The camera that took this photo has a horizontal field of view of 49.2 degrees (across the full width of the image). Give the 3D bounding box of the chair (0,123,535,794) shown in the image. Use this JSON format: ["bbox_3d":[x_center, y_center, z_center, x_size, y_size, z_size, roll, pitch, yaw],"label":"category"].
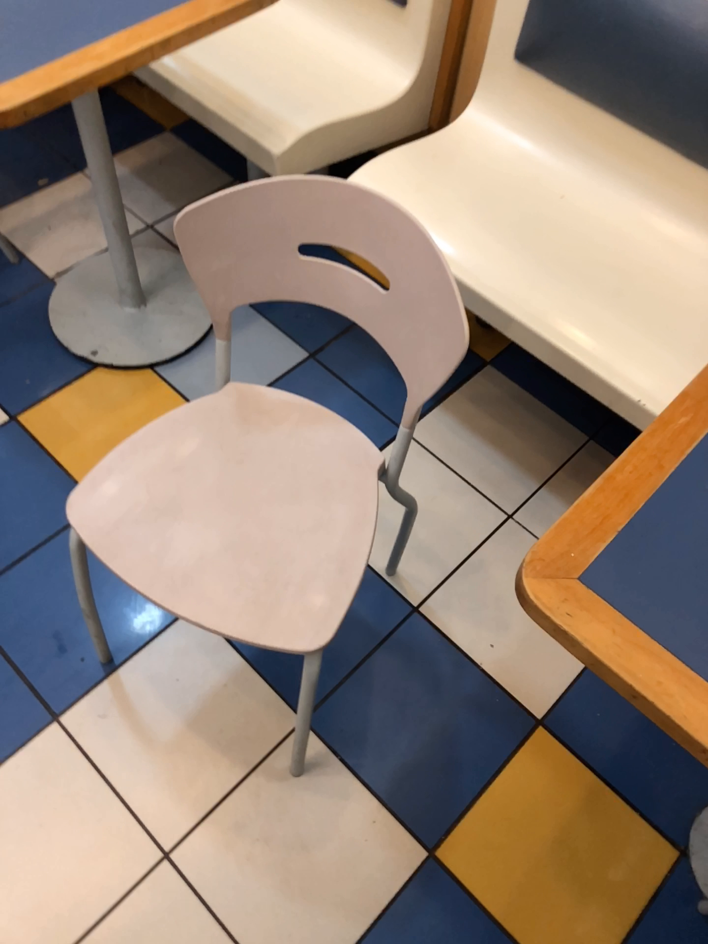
[{"bbox_3d":[-0.131,0.042,1.140,0.440,0.776,0.512,26,58,12],"label":"chair"}]
